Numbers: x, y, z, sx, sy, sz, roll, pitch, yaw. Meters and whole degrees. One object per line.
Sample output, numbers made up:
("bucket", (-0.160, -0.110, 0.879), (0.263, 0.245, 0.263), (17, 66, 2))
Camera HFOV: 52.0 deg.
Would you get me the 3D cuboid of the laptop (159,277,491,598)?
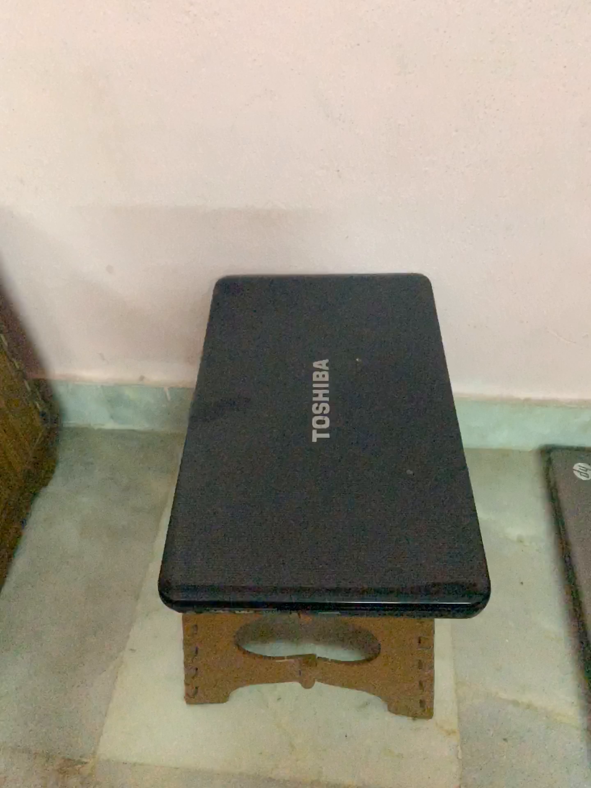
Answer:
("laptop", (0.024, 0.005, 0.555), (0.236, 0.001, 0.370), (0, 48, 3))
